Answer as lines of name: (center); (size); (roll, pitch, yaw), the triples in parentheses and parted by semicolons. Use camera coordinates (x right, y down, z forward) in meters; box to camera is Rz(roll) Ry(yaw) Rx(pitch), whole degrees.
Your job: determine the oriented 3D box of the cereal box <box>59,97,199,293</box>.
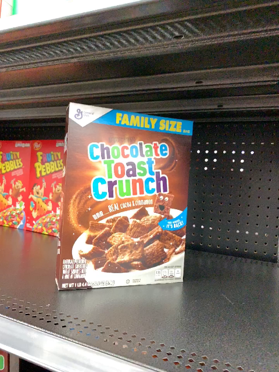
cereal box: (-0.018, 0.018, 0.546); (0.240, 0.320, 0.070); (2, 2, -21)
